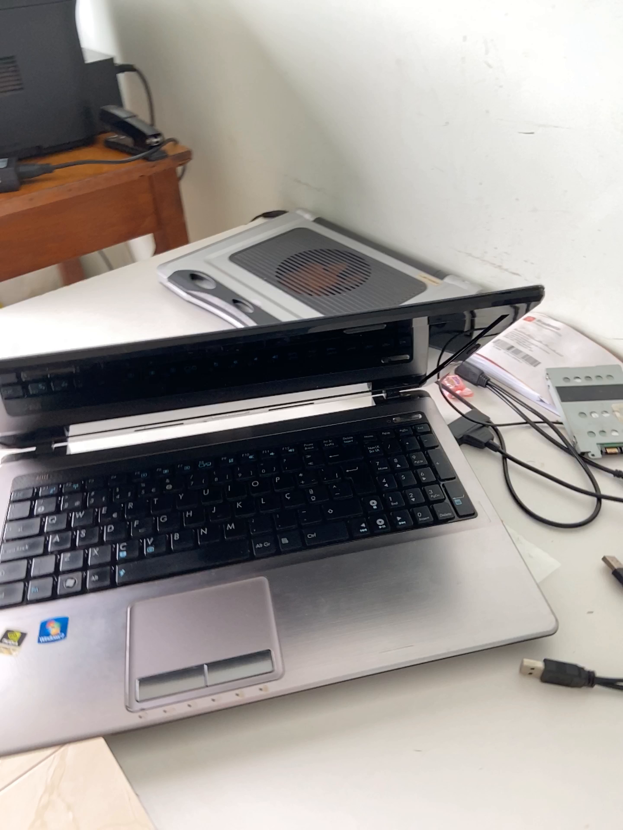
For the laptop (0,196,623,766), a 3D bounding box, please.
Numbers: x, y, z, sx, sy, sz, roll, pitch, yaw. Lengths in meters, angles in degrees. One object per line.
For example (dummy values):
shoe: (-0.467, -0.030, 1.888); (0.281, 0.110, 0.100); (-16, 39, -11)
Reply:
laptop: (-0.057, 0.016, 0.413); (0.376, 0.182, 0.247); (-9, 40, -7)
